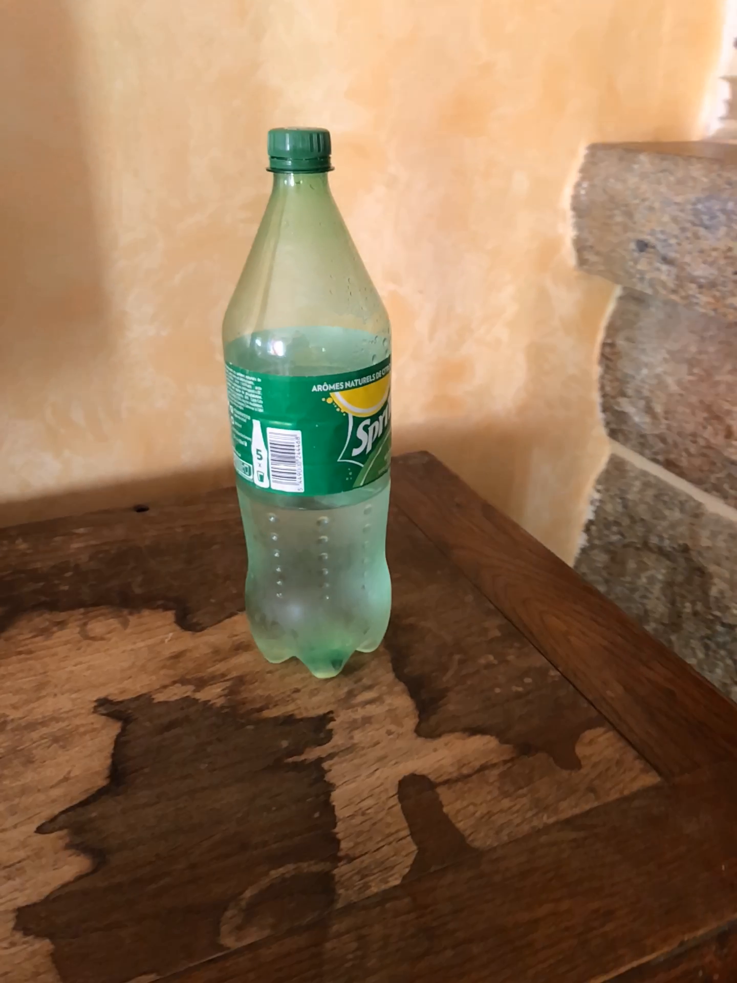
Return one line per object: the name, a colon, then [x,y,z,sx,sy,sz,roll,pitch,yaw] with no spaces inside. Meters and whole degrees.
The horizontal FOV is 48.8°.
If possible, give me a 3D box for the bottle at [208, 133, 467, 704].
bottle: [-0.013,-0.036,0.434,0.090,0.278,0.091,1,26,0]
